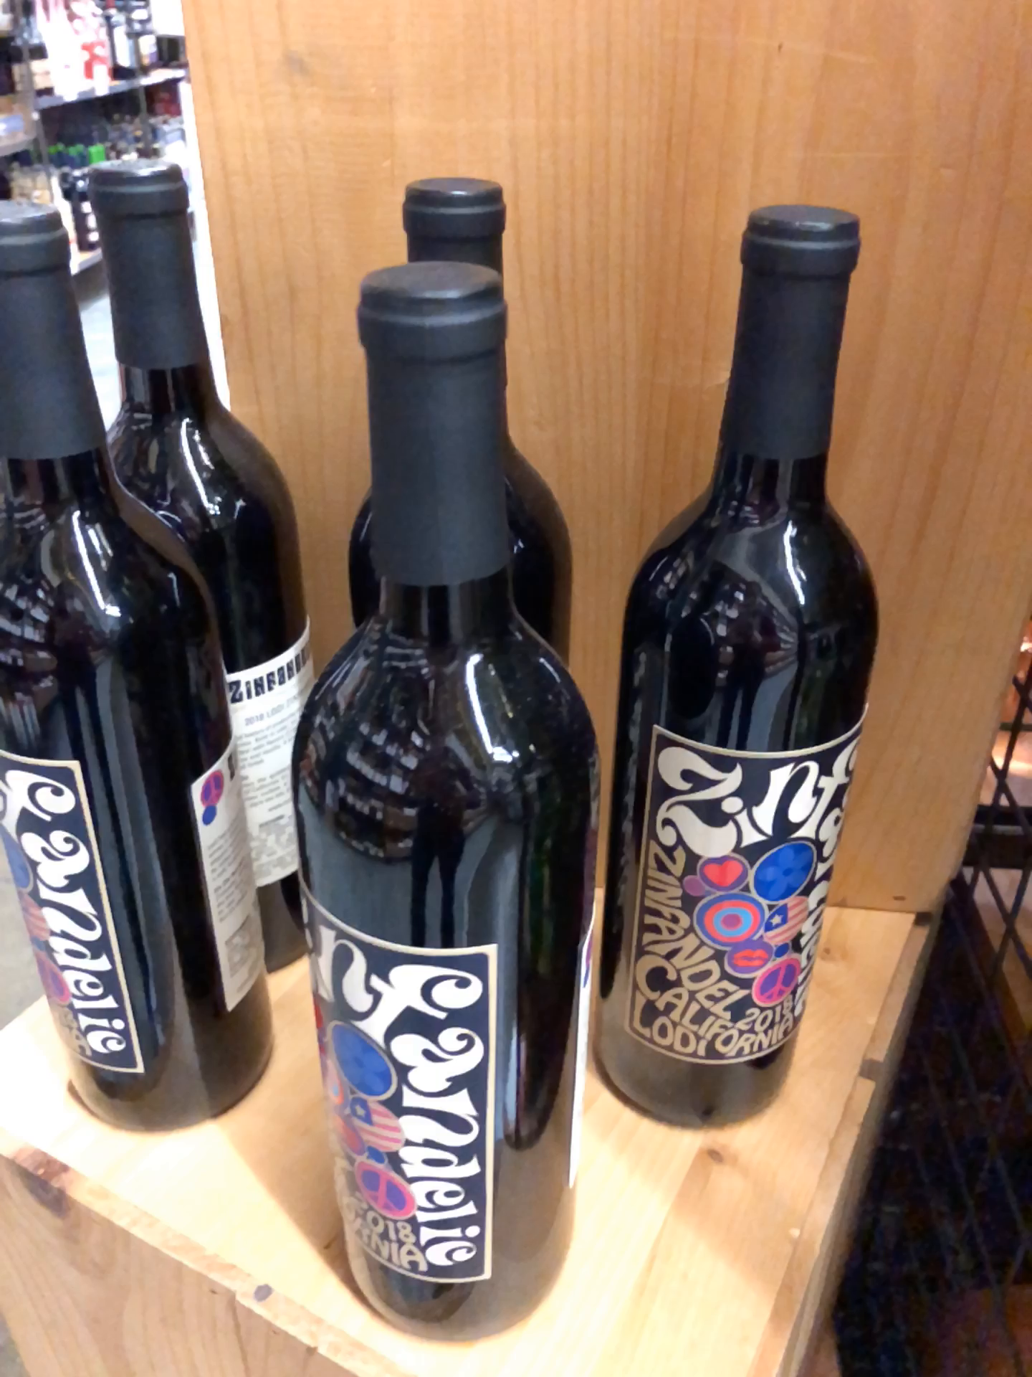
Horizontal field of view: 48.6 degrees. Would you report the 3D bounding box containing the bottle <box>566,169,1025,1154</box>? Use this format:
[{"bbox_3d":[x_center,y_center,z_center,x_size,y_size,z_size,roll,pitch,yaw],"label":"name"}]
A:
[{"bbox_3d":[0.067,0.010,0.362,0.080,0.310,0.077,0,31,0],"label":"bottle"}]

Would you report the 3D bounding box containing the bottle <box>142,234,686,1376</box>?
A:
[{"bbox_3d":[-0.018,0.047,0.286,0.073,0.286,0.070,0,31,0],"label":"bottle"}]

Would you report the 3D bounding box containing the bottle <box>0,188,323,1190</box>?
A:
[{"bbox_3d":[-0.128,0.014,0.361,0.080,0.304,0.077,1,31,0],"label":"bottle"}]

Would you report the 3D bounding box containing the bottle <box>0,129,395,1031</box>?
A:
[{"bbox_3d":[-0.100,-0.026,0.382,0.080,0.280,0.077,1,31,0],"label":"bottle"}]

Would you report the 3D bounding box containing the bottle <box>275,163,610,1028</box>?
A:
[{"bbox_3d":[-0.023,-0.018,0.377,0.080,0.274,0.077,0,31,0],"label":"bottle"}]
